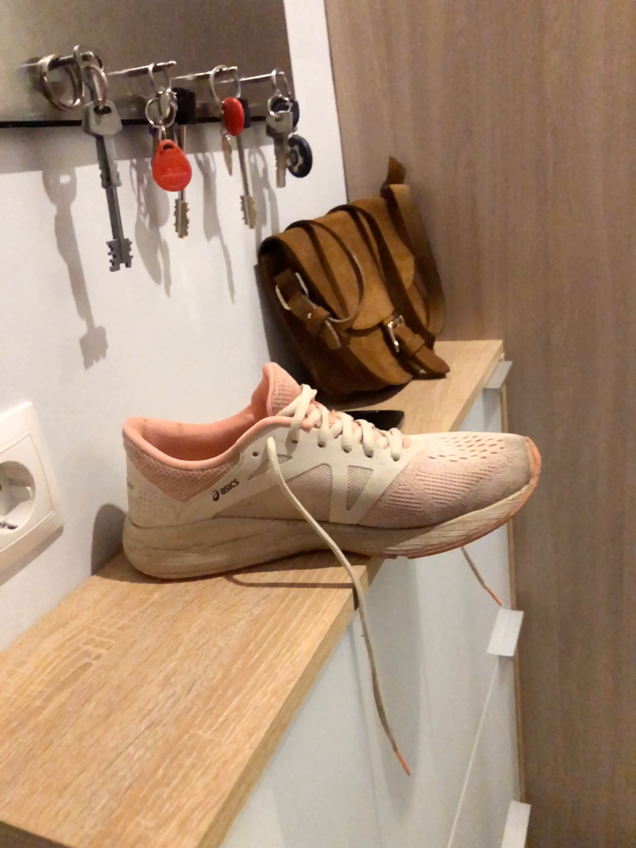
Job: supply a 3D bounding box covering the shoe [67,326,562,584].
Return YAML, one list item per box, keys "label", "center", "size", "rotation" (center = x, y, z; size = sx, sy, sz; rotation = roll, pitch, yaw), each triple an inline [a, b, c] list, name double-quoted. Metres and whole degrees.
- label: "shoe"
  center: [0.003, 0.017, 0.446]
  size: [0.268, 0.104, 0.111]
  rotation: [-6, 21, 7]
